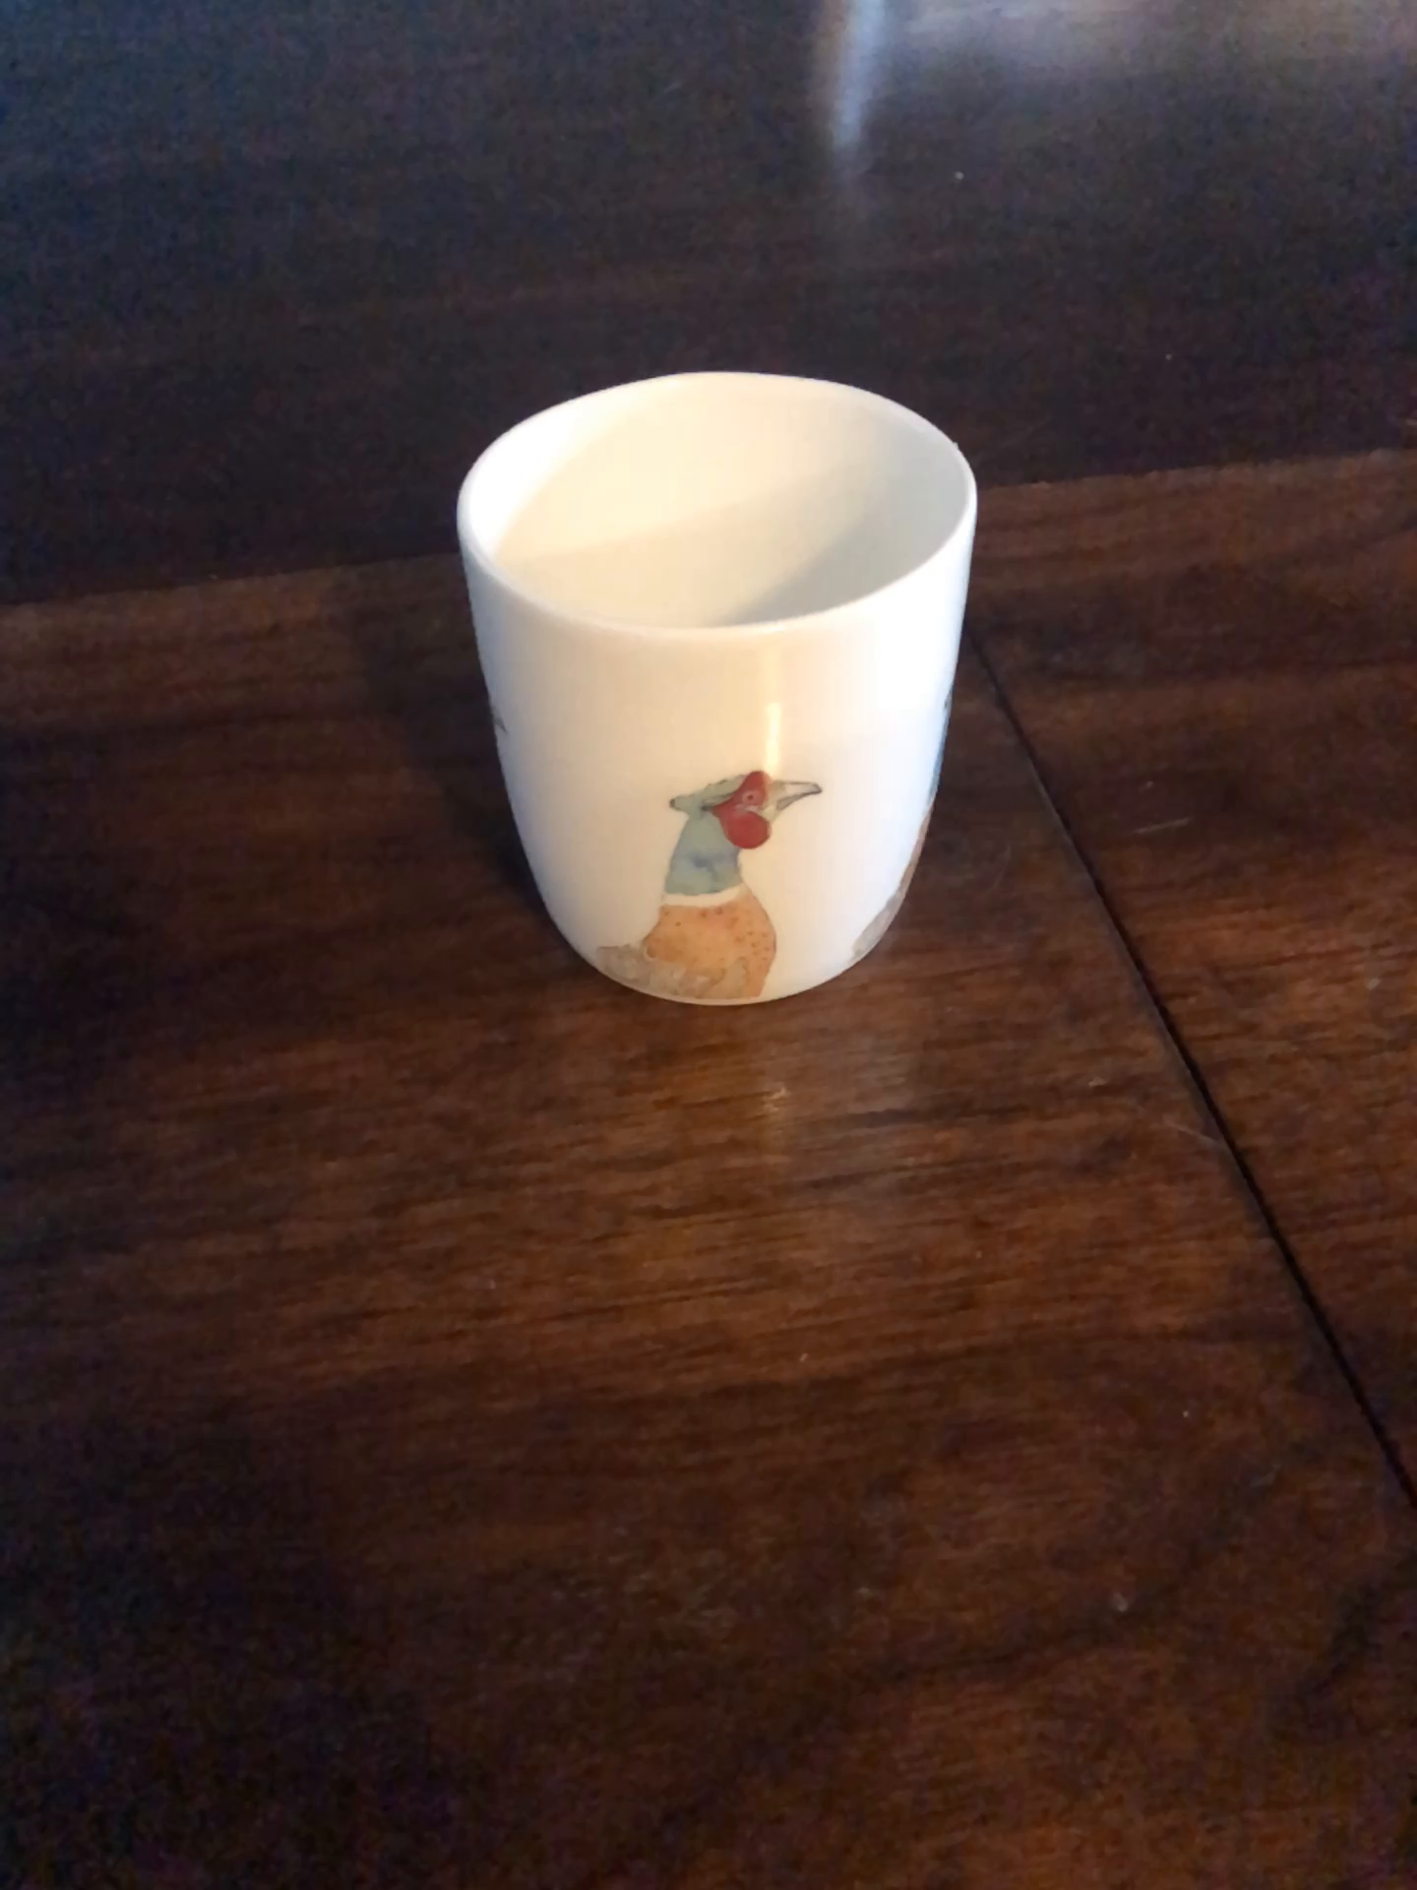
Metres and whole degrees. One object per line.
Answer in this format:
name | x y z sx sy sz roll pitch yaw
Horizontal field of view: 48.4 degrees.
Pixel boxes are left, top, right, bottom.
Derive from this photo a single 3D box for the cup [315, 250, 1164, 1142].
cup | -0.001 -0.054 0.293 0.090 0.090 0.130 -21 47 -19
